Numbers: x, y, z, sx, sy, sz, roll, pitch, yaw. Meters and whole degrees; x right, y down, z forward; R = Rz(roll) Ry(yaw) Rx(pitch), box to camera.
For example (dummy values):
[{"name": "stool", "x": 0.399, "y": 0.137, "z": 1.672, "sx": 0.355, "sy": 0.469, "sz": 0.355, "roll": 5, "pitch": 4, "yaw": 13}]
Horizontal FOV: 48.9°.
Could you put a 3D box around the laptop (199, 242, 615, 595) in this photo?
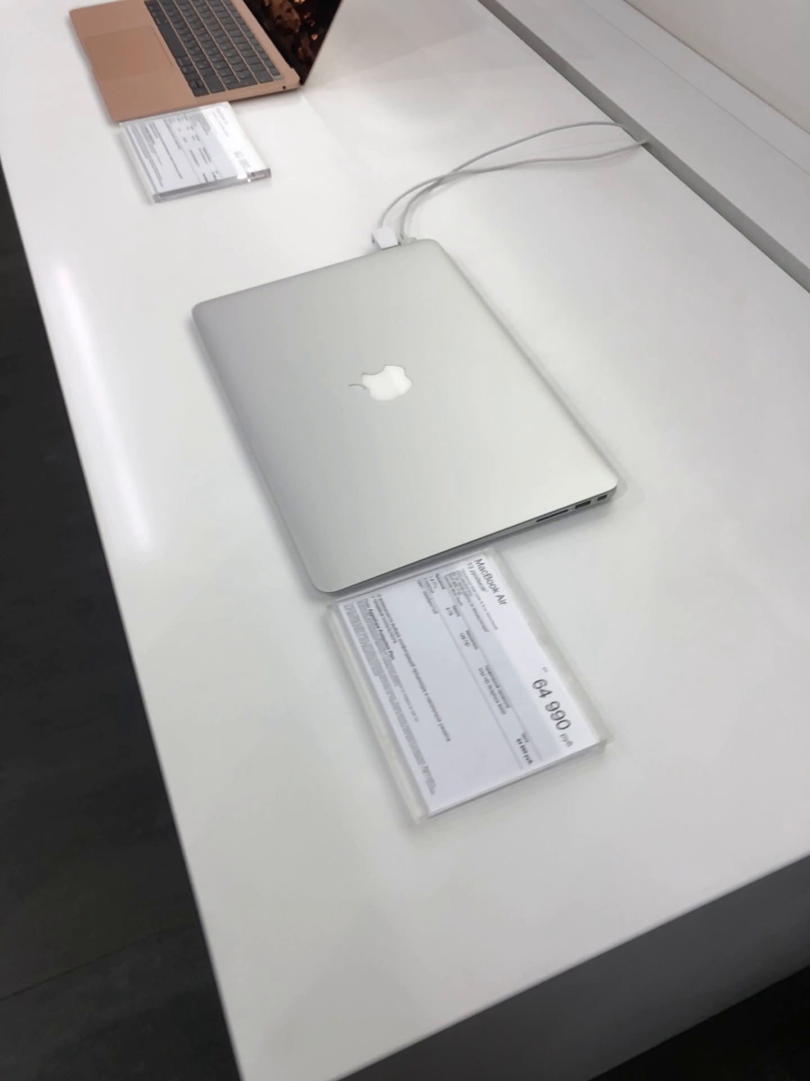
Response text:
[{"name": "laptop", "x": -0.014, "y": -0.113, "z": 0.667, "sx": 0.209, "sy": 0.008, "sz": 0.308, "roll": -19, "pitch": 53, "yaw": -12}]
